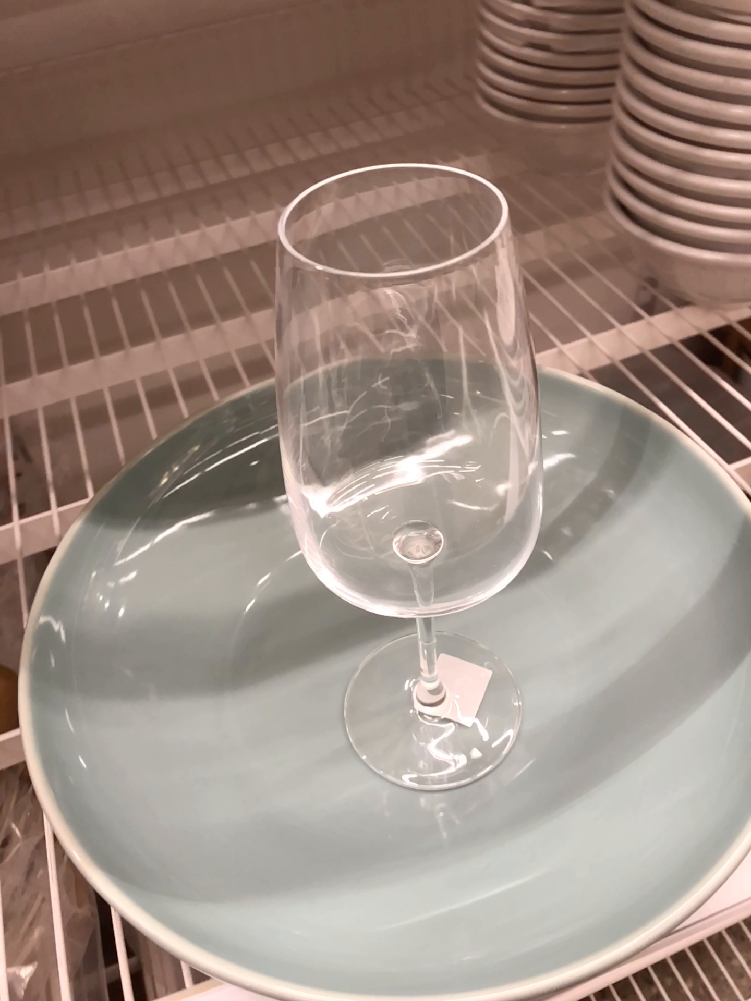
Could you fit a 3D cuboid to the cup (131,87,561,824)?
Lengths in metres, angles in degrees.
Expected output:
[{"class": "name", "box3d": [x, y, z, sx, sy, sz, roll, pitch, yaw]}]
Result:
[{"class": "cup", "box3d": [0.013, 0.008, 0.323, 0.100, 0.279, 0.100, -4, 44, 4]}]
